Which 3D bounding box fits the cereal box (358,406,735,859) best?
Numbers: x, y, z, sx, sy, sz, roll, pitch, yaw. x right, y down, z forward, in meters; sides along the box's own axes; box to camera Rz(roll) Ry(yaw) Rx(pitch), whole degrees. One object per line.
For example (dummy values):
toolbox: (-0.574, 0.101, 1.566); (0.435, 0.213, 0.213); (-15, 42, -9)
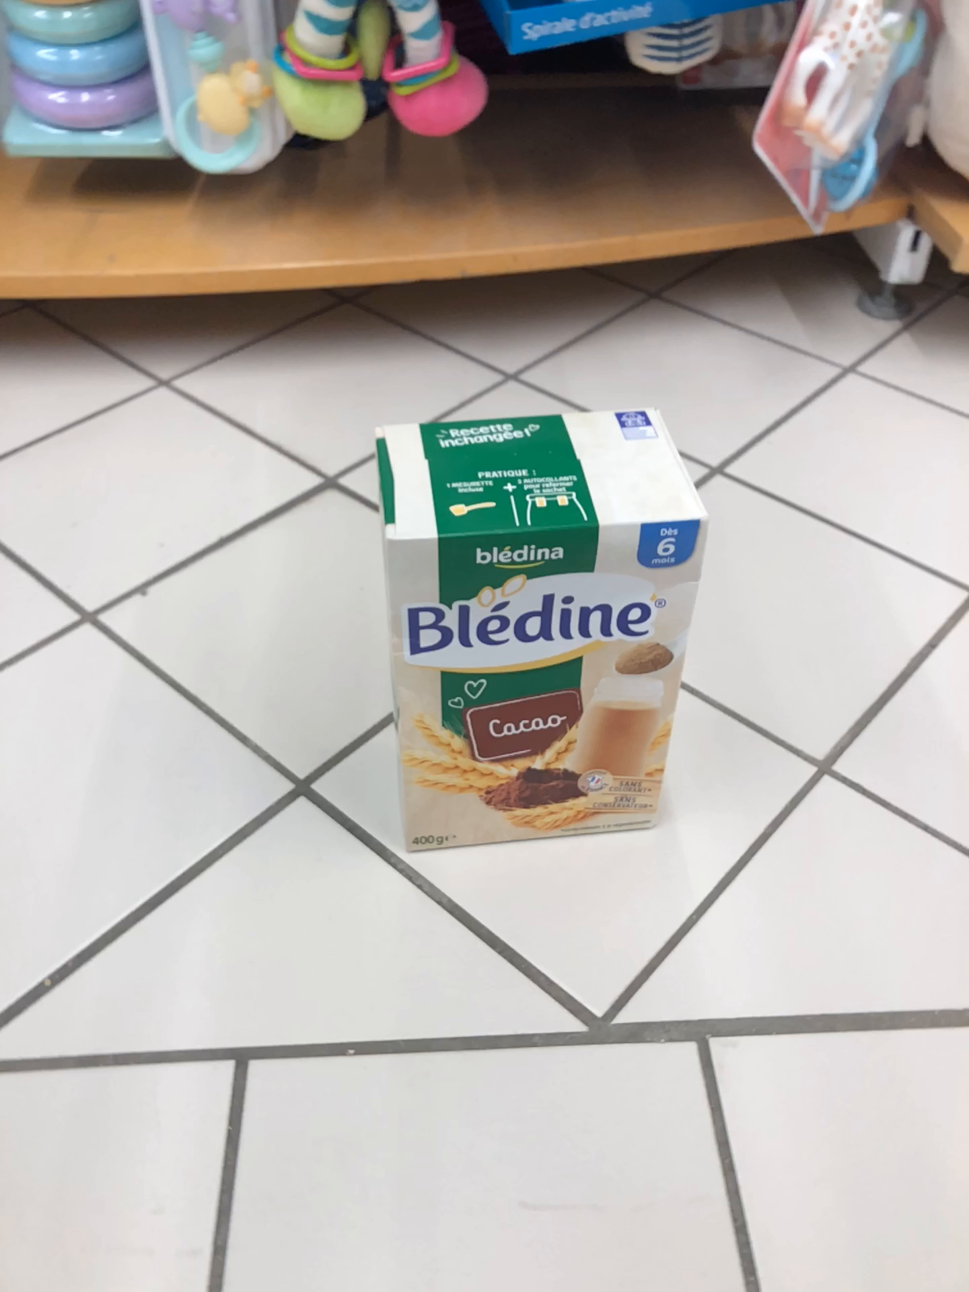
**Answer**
cereal box: (0.020, -0.001, 0.501); (0.140, 0.189, 0.090); (-5, 43, -6)
